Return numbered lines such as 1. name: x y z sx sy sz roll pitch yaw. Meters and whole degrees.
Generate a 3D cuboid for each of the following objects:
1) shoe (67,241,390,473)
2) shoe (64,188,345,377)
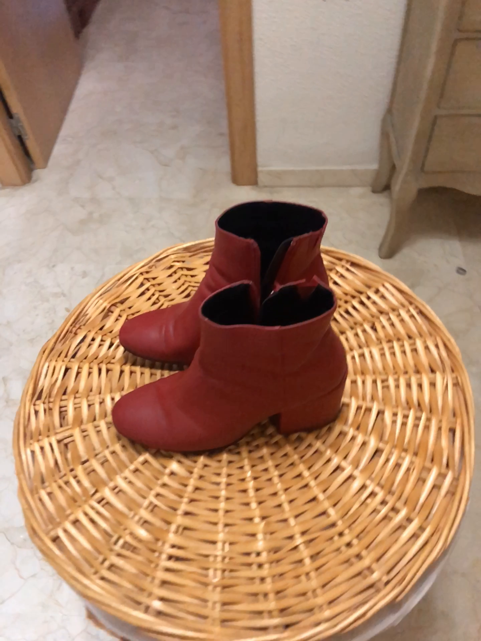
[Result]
1. shoe: -0.009 0.043 0.501 0.244 0.184 0.099 -8 52 -2
2. shoe: -0.026 -0.033 0.562 0.244 0.184 0.099 0 53 4
